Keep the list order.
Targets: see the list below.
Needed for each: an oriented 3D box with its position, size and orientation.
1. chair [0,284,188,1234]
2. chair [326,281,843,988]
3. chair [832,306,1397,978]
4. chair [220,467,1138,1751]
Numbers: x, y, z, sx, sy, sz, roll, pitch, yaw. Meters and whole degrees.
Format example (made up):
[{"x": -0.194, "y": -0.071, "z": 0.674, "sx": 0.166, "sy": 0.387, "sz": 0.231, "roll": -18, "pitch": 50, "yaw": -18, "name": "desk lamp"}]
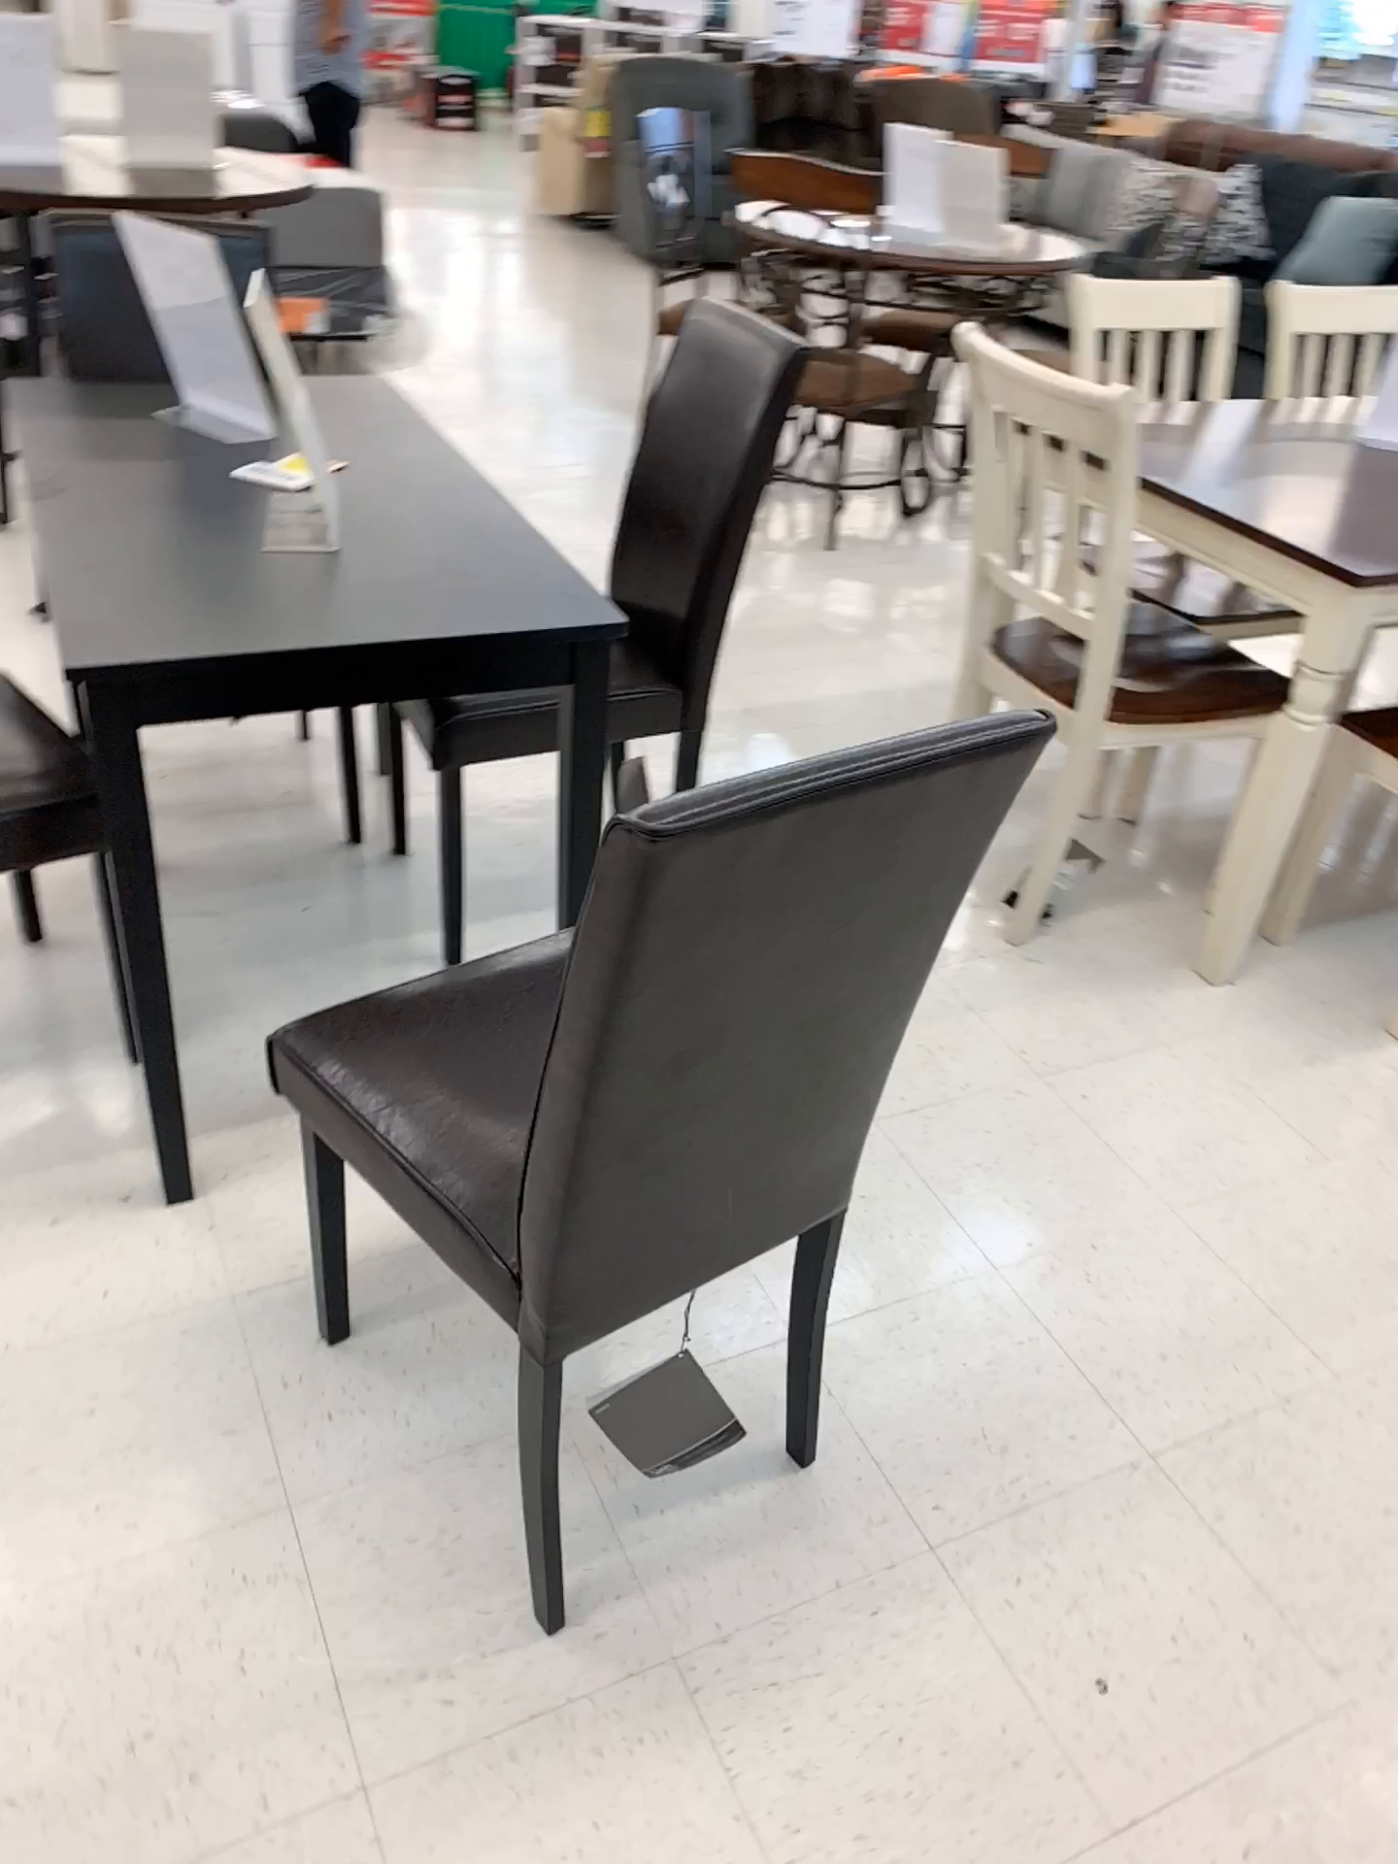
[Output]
[{"x": -1.040, "y": -0.222, "z": 1.715, "sx": 0.596, "sy": 0.930, "sz": 0.415, "roll": -23, "pitch": 43, "yaw": -37, "name": "chair"}, {"x": -0.205, "y": -0.468, "z": 2.223, "sx": 0.595, "sy": 0.930, "sz": 0.416, "roll": -12, "pitch": 38, "yaw": -26, "name": "chair"}, {"x": 0.698, "y": -0.506, "z": 2.426, "sx": 0.665, "sy": 0.950, "sz": 0.466, "roll": -13, "pitch": 38, "yaw": -26, "name": "chair"}, {"x": -0.083, "y": 0.142, "z": 1.325, "sx": 0.425, "sy": 0.930, "sz": 0.596, "roll": -18, "pitch": 41, "yaw": -33, "name": "chair"}]
